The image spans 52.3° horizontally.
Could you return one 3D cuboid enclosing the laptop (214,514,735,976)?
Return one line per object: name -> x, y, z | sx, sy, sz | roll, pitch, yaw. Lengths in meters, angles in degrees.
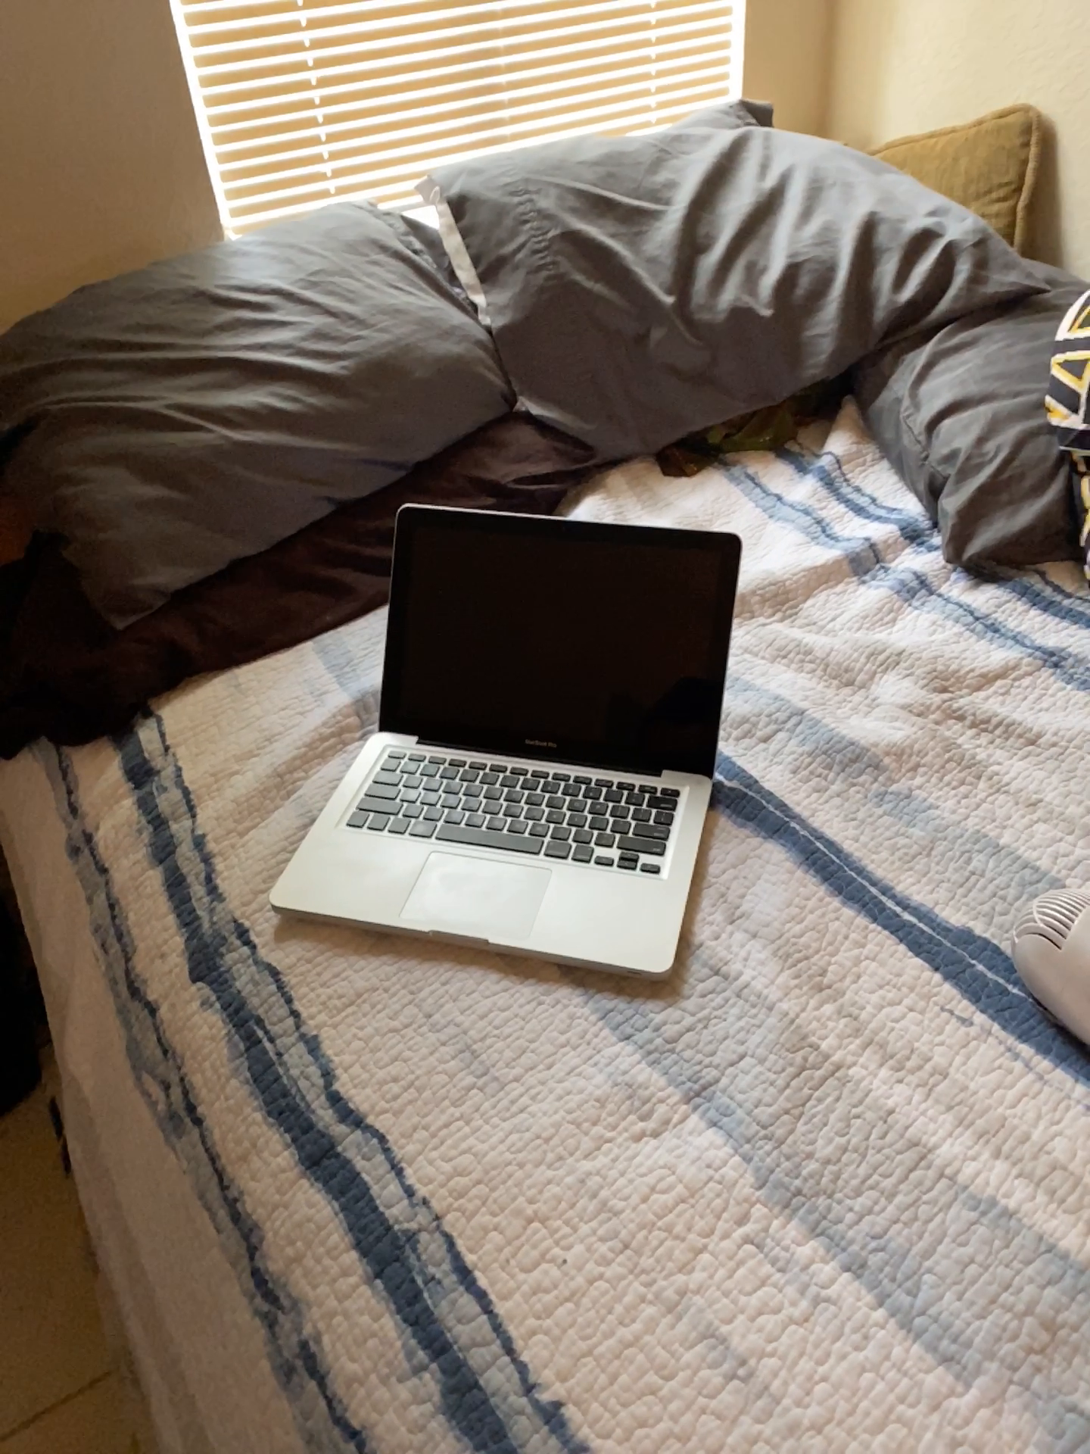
laptop -> -0.027, -0.011, 0.913 | 0.319, 0.169, 0.348 | 7, 38, 14
